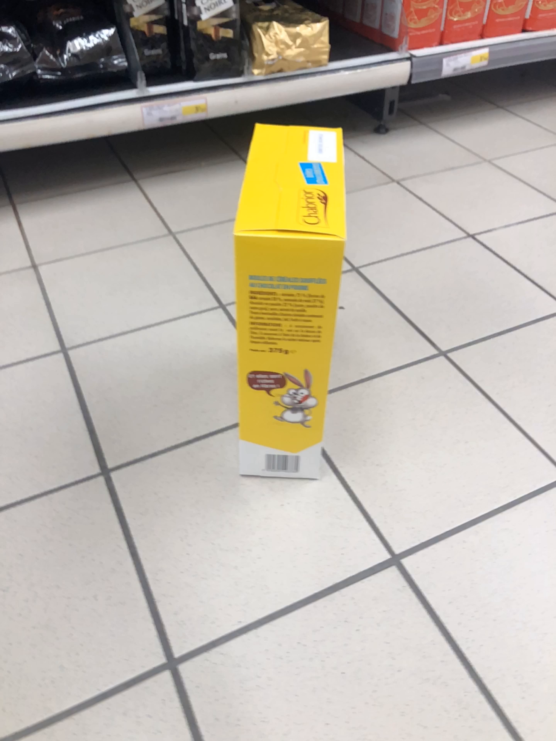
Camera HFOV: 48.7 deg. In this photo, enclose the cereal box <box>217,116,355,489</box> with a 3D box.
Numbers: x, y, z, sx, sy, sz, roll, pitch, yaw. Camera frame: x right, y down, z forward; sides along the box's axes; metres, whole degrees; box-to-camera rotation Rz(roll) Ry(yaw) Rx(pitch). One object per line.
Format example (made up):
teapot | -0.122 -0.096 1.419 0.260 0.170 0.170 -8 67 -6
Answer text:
cereal box | 0.012 -0.059 0.562 0.090 0.268 0.201 3 42 3
